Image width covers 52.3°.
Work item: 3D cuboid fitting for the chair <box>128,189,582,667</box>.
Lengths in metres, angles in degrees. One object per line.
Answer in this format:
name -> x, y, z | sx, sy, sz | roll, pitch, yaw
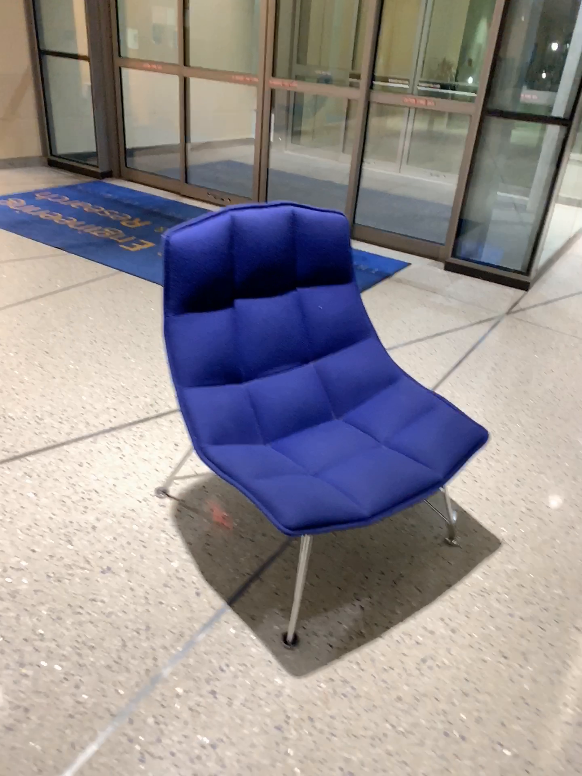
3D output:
chair -> 0.123, 0.001, 1.709 | 0.857, 0.894, 0.798 | -17, 36, -33
